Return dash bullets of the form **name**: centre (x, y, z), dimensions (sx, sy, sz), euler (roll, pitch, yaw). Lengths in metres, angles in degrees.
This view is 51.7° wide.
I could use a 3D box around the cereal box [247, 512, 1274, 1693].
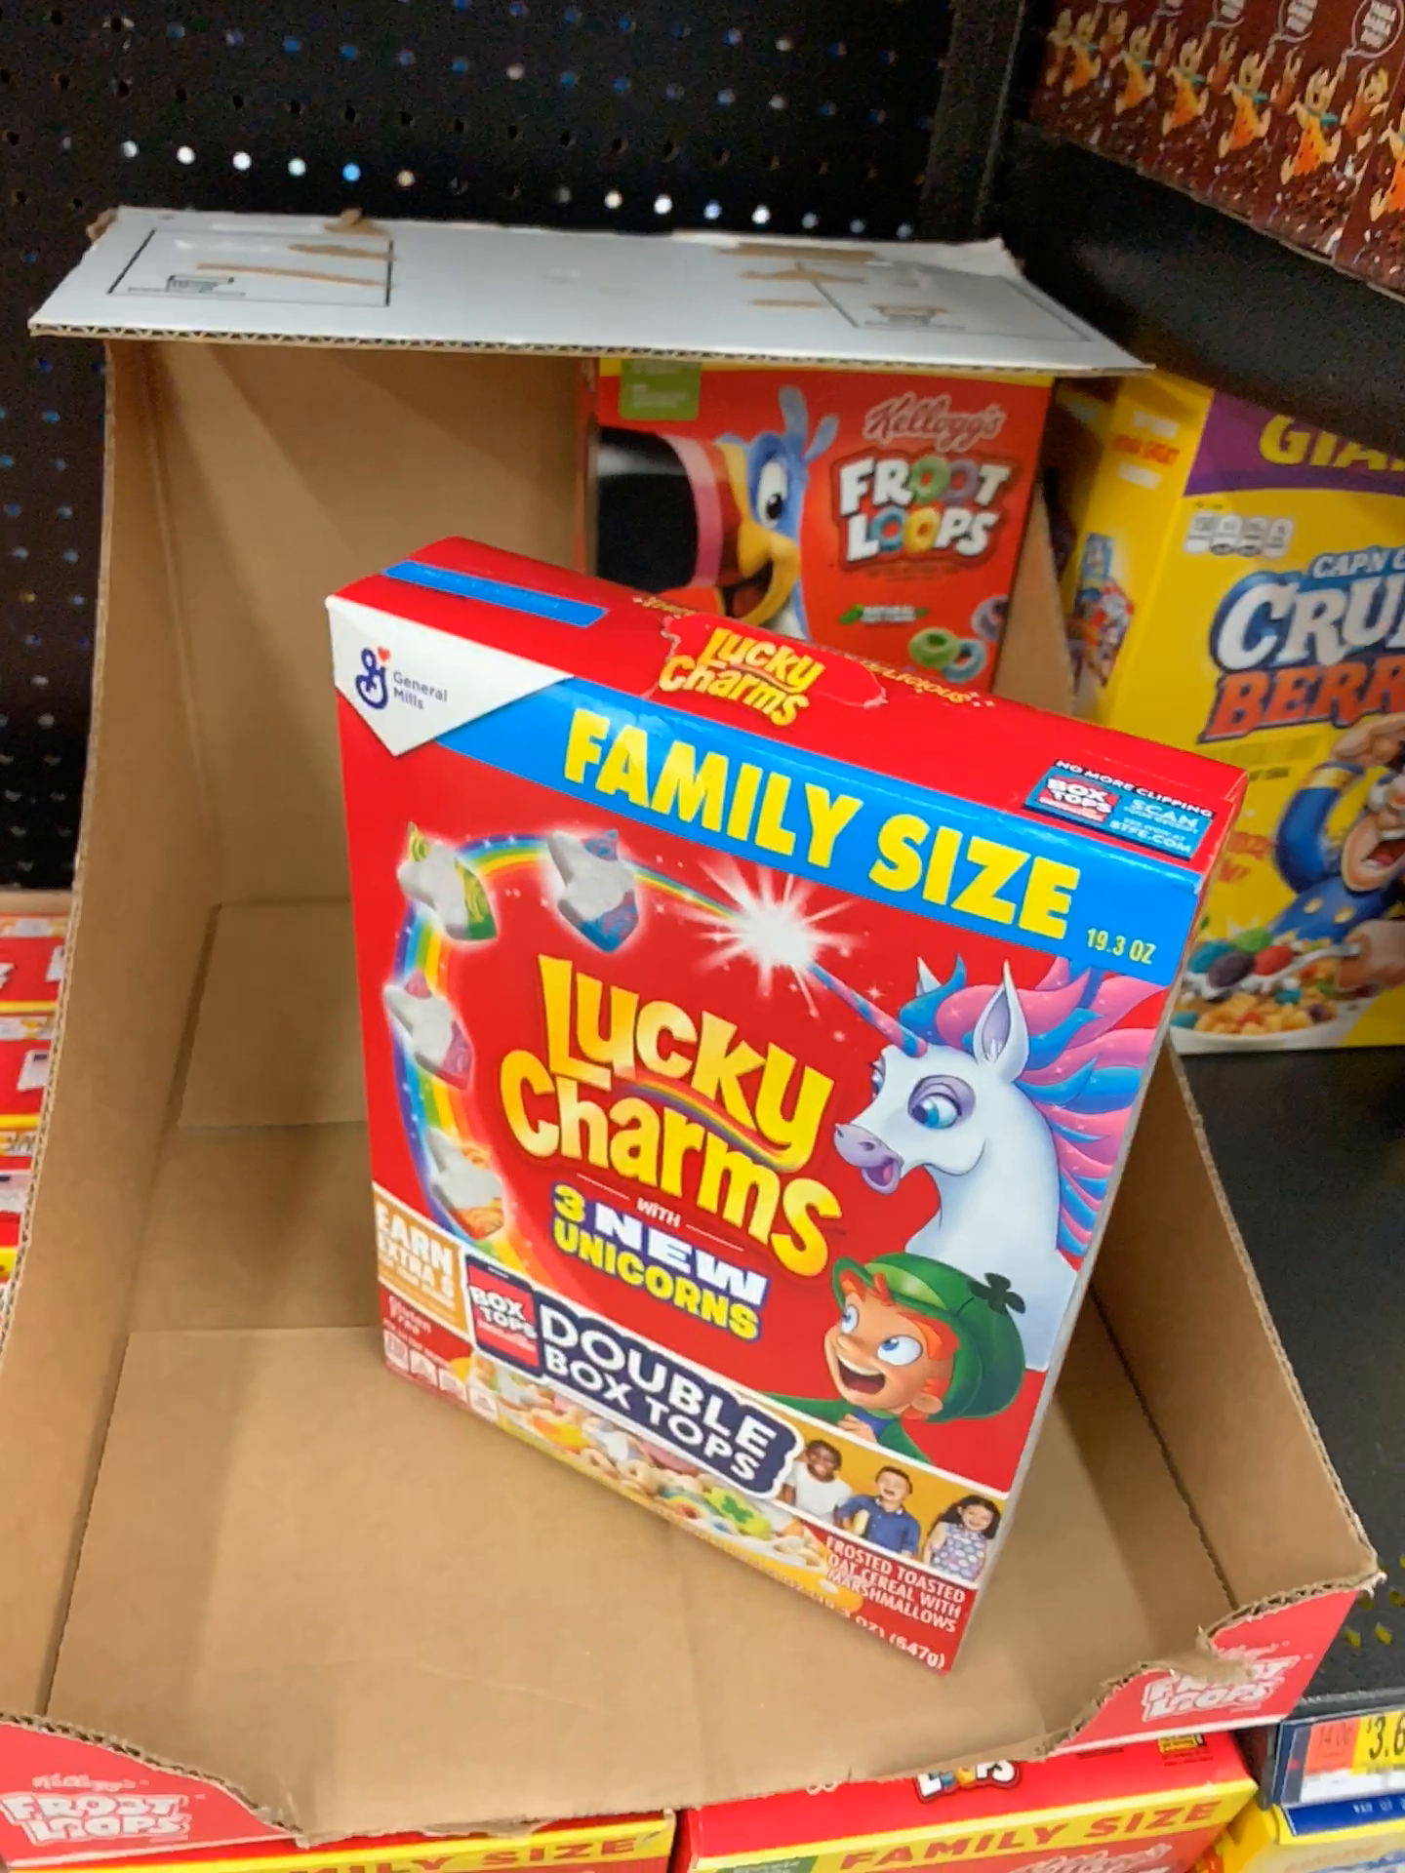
- **cereal box**: centre (-0.004, 0.056, 0.411), dimensions (0.230, 0.289, 0.060), euler (20, 38, 20)
